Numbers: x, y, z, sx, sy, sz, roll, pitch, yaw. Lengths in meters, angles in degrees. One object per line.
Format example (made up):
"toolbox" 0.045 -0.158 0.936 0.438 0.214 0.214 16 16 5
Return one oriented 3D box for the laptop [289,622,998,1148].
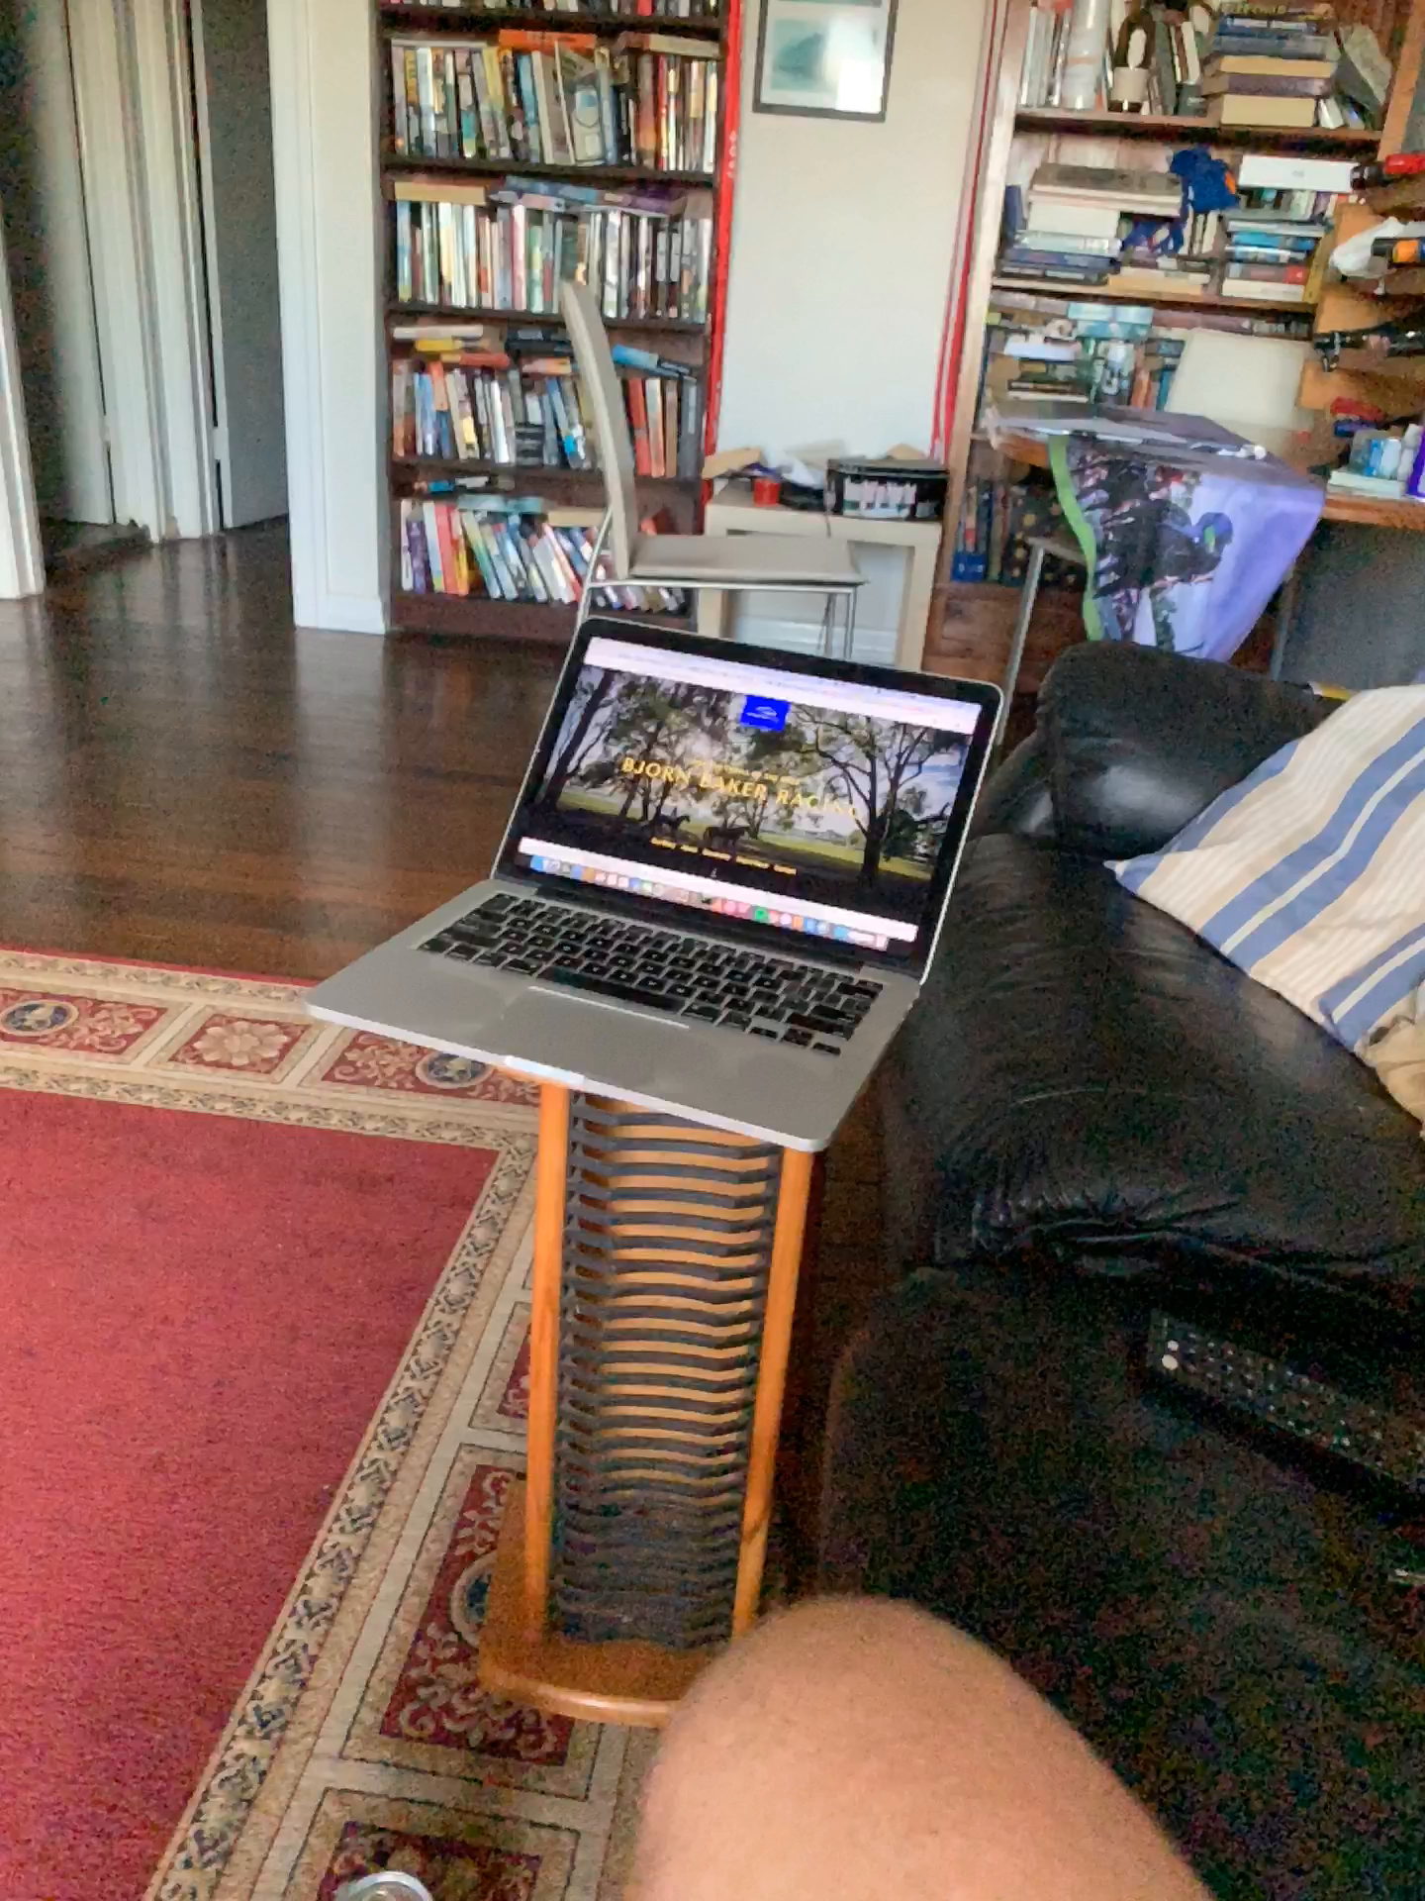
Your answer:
"laptop" -0.023 -0.070 0.894 0.312 0.161 0.341 14 25 18
